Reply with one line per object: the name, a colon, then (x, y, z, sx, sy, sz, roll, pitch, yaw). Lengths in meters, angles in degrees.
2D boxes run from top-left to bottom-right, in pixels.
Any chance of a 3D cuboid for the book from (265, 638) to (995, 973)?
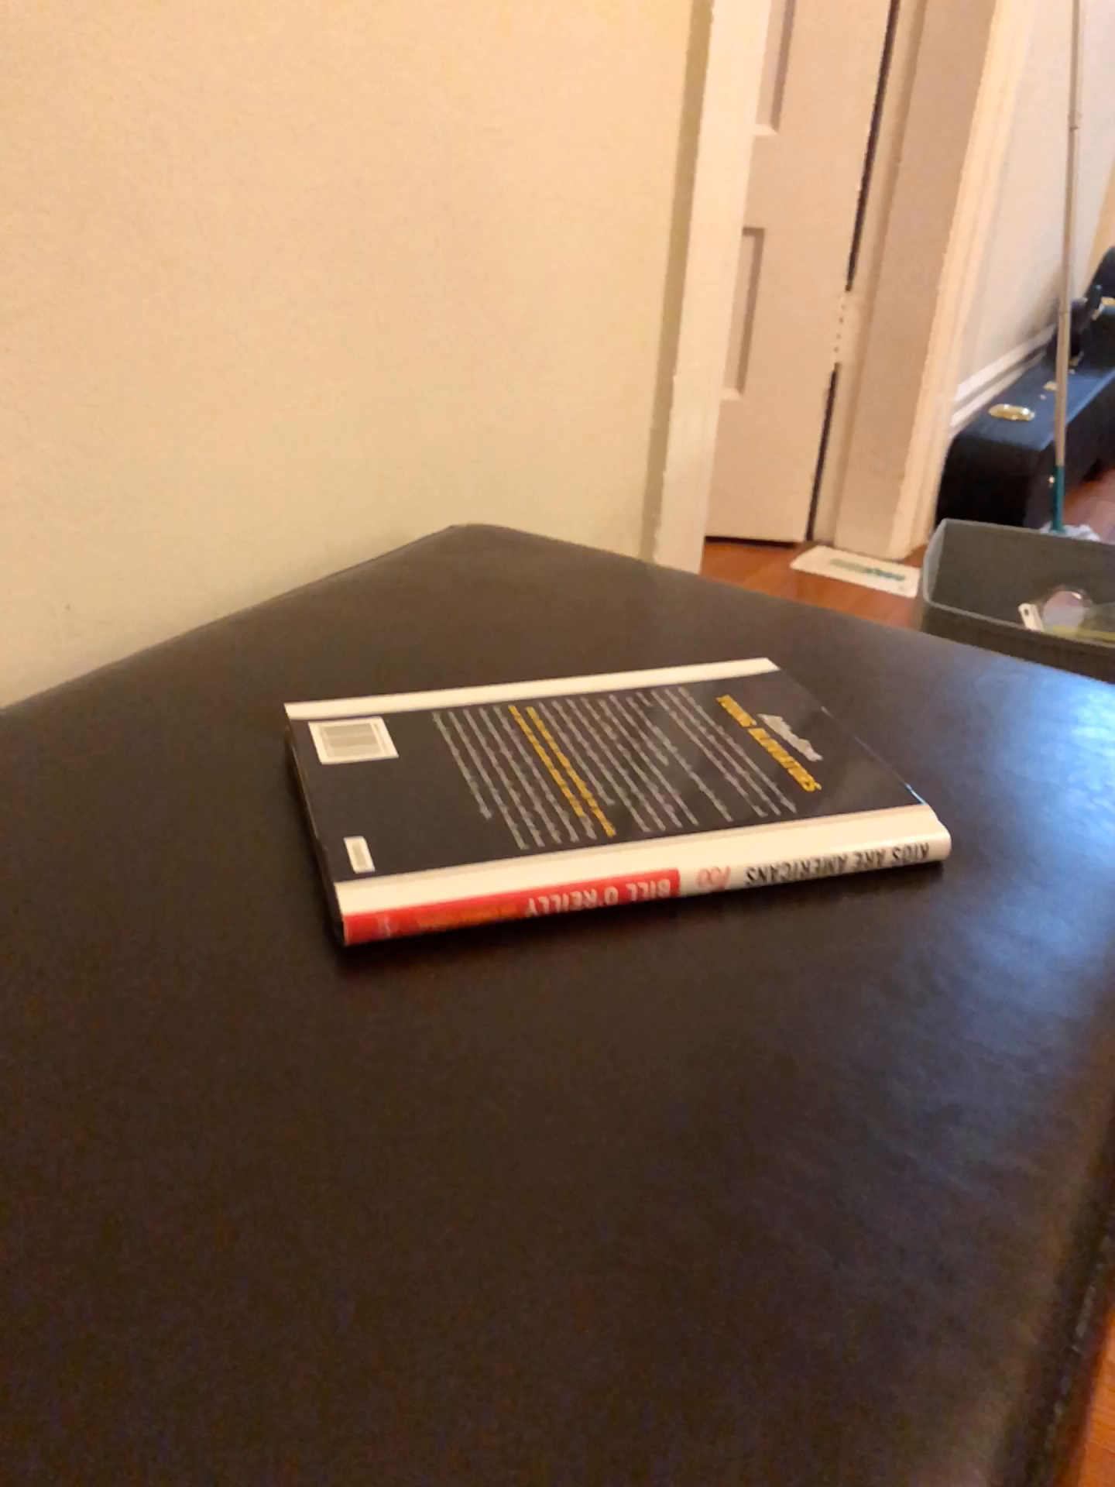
book: (0.018, 0.010, 0.464, 0.230, 0.020, 0.161, -6, 30, -18)
